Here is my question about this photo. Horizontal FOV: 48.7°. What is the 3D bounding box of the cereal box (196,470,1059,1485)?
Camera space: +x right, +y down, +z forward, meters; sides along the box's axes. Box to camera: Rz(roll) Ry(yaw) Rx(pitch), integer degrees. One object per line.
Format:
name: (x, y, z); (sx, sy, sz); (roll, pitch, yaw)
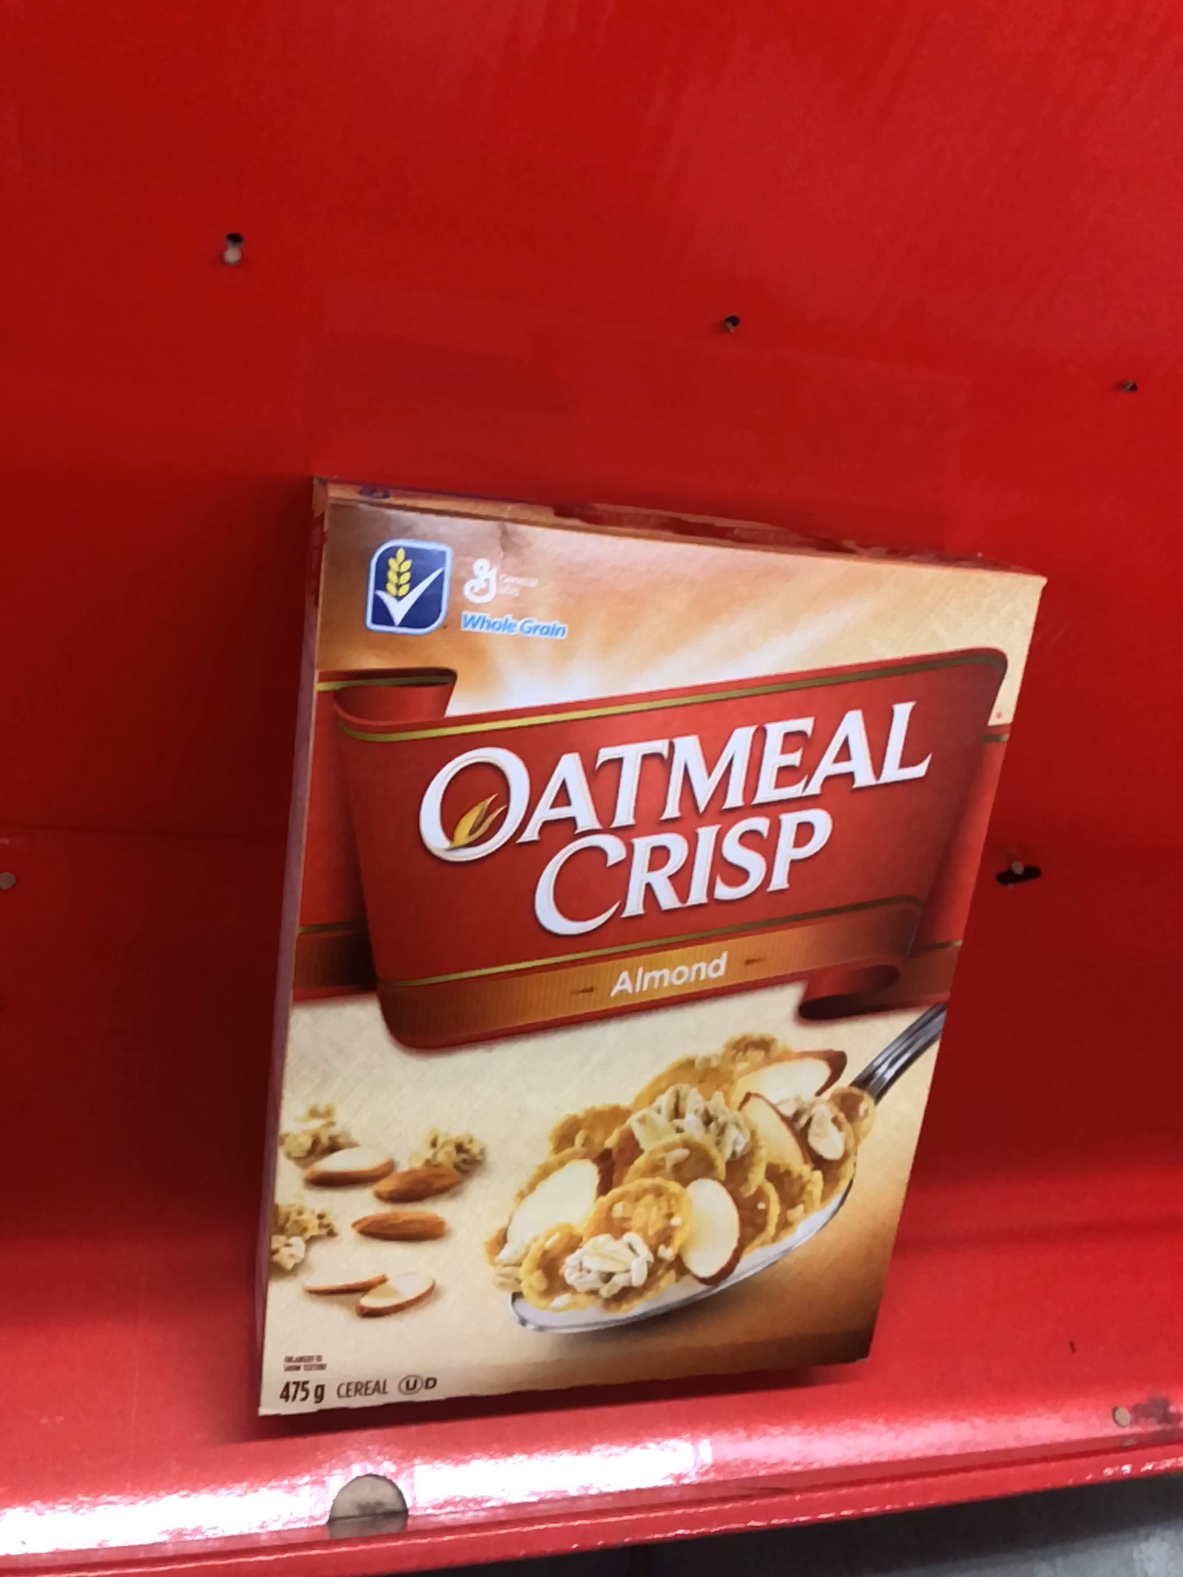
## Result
cereal box: (0.001, 0.058, 0.392); (0.210, 0.269, 0.070); (3, 16, -19)
